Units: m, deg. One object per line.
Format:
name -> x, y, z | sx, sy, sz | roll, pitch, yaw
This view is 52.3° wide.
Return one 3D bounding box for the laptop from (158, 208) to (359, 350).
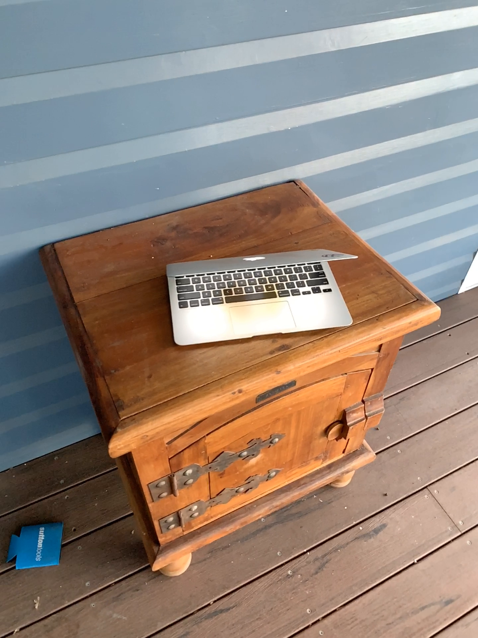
laptop -> 0.021, -0.071, 0.787 | 0.282, 0.099, 0.180 | -7, 48, -7
